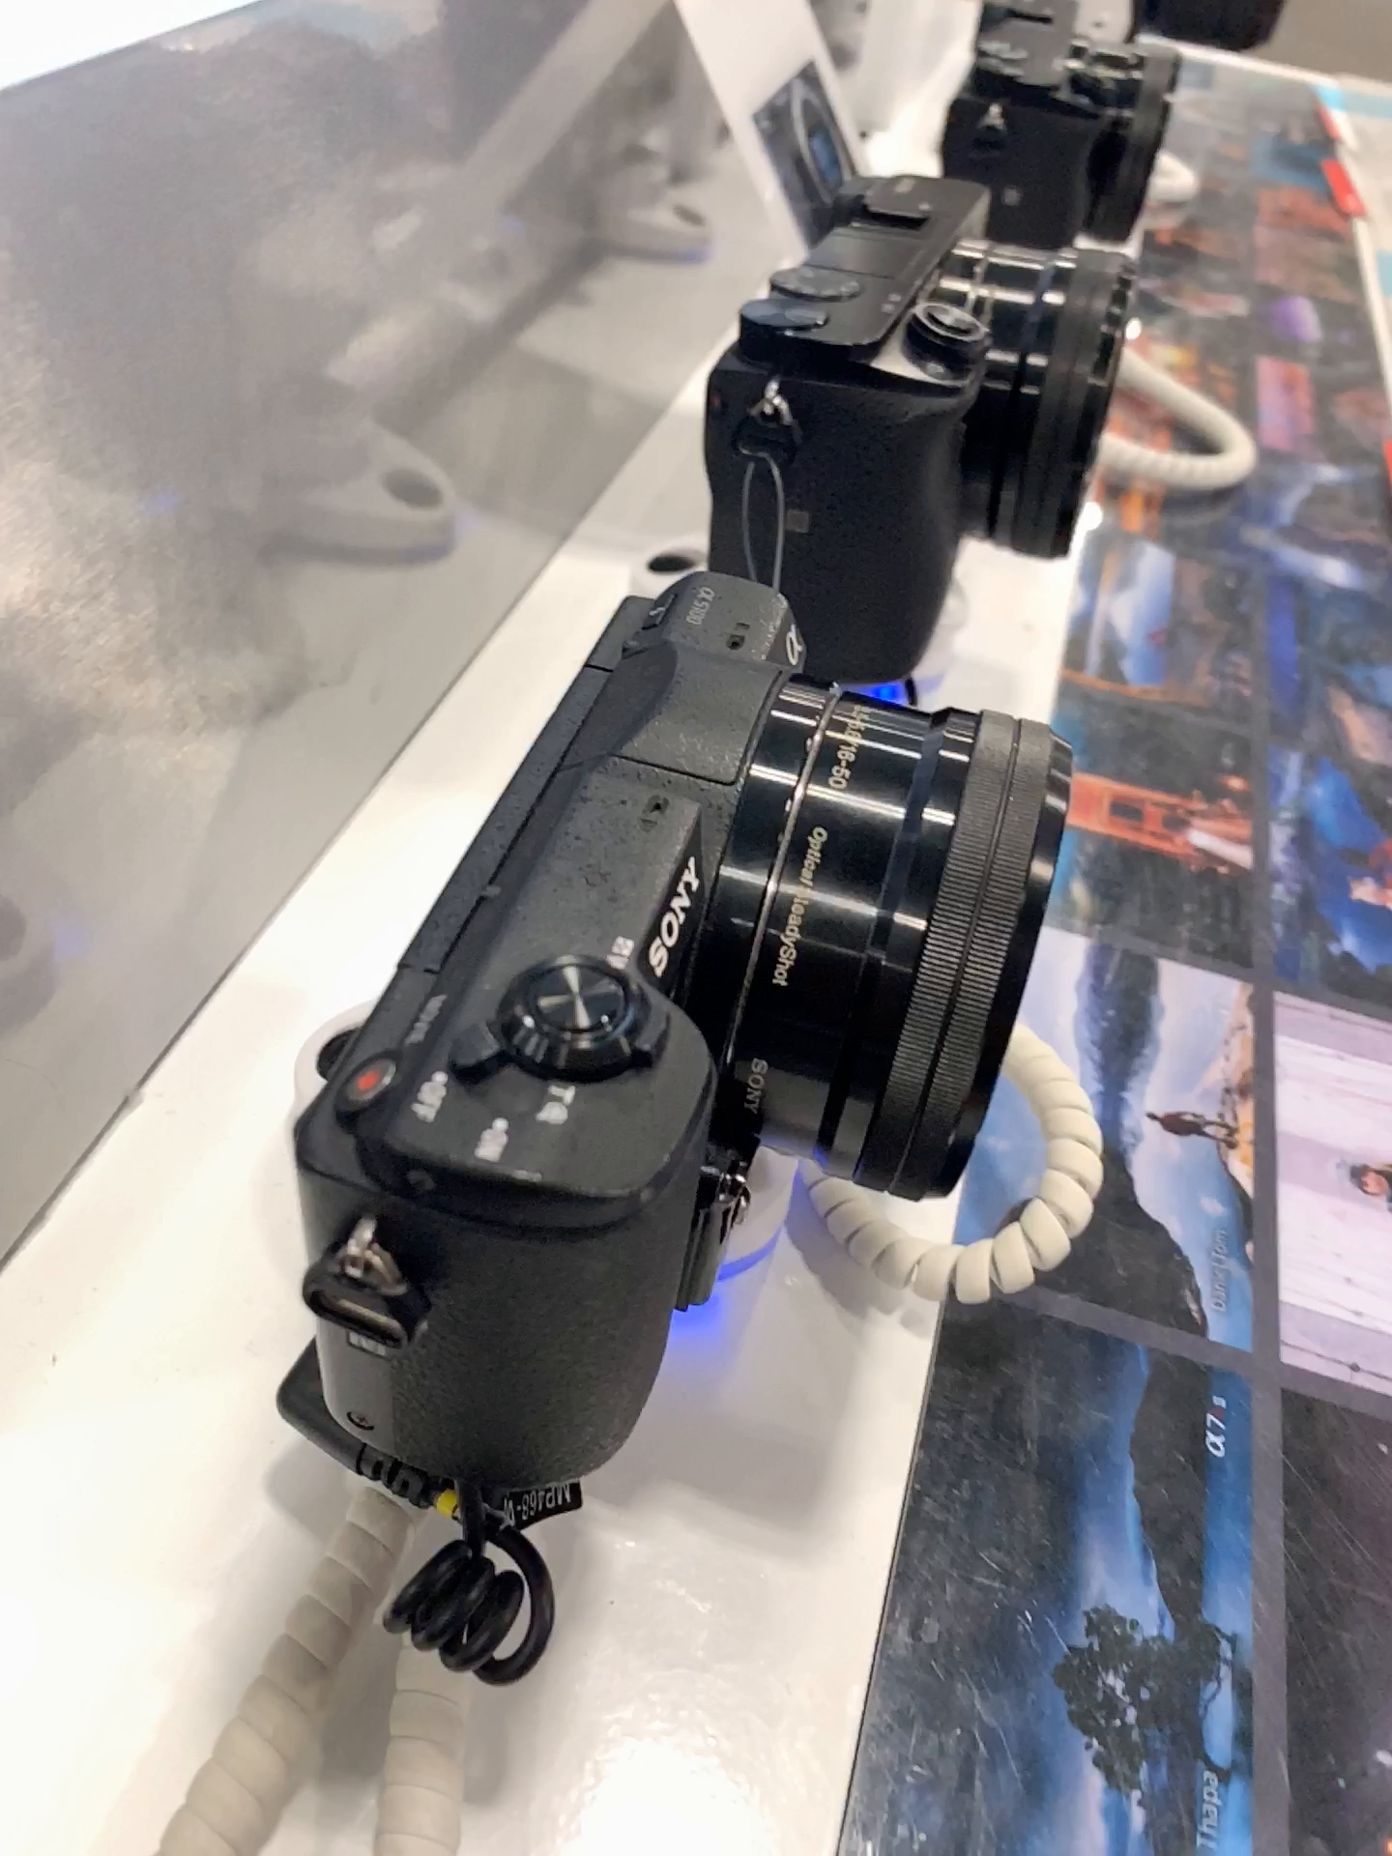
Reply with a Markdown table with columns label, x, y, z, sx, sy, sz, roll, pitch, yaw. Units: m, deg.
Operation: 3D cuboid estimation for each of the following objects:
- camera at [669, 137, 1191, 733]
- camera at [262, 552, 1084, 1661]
| label | x | y | z | sx | sy | sz | roll | pitch | yaw |
| --- | --- | --- | --- | --- | --- | --- | --- | --- | --- |
| camera | 0.052 | -0.109 | 0.298 | 0.071 | 0.060 | 0.137 | 15 | 43 | 11 |
| camera | 0.004 | 0.013 | 0.182 | 0.066 | 0.060 | 0.113 | 16 | 43 | 5 |
